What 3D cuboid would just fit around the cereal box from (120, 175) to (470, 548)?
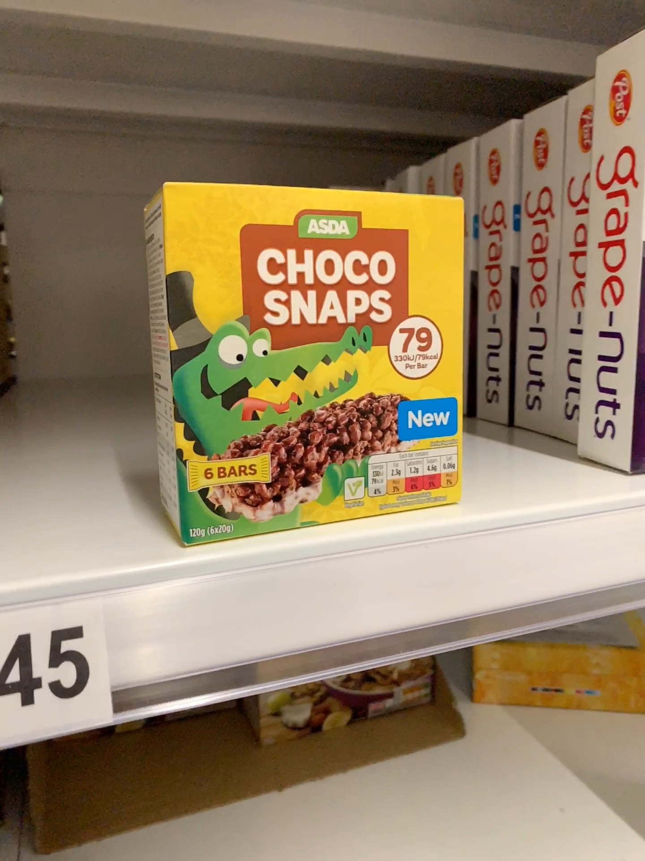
[{"bbox_3d":[-0.012,-0.033,0.292,0.130,0.130,0.070,-5,10,-24],"label":"cereal box"}]
